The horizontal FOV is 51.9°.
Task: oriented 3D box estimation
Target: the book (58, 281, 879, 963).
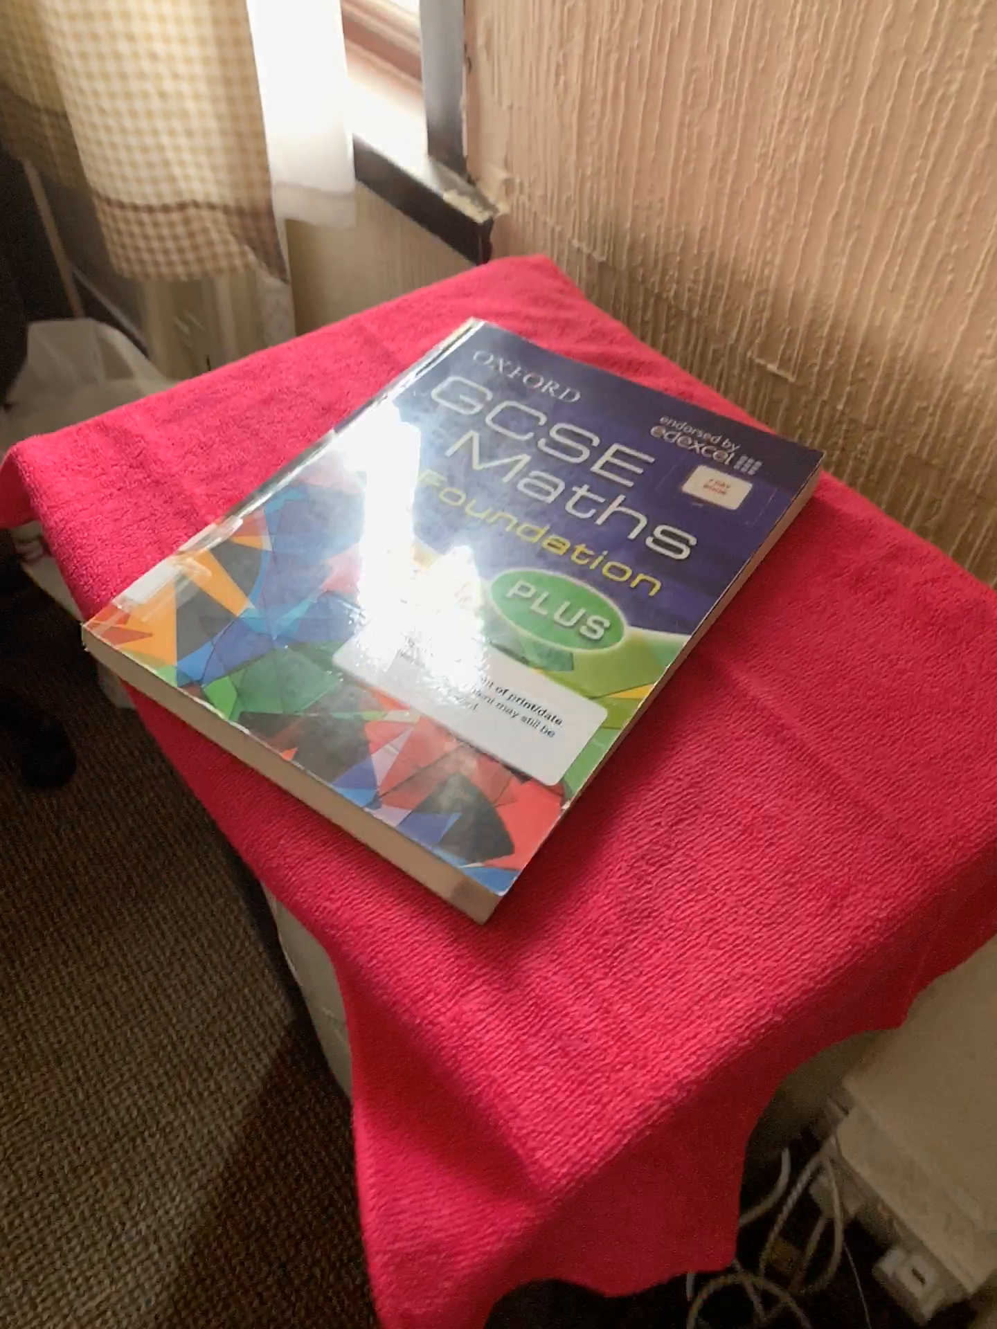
[{"bbox_3d":[0.002,-0.051,0.430,0.211,0.030,0.282,29,57,20],"label":"book"}]
